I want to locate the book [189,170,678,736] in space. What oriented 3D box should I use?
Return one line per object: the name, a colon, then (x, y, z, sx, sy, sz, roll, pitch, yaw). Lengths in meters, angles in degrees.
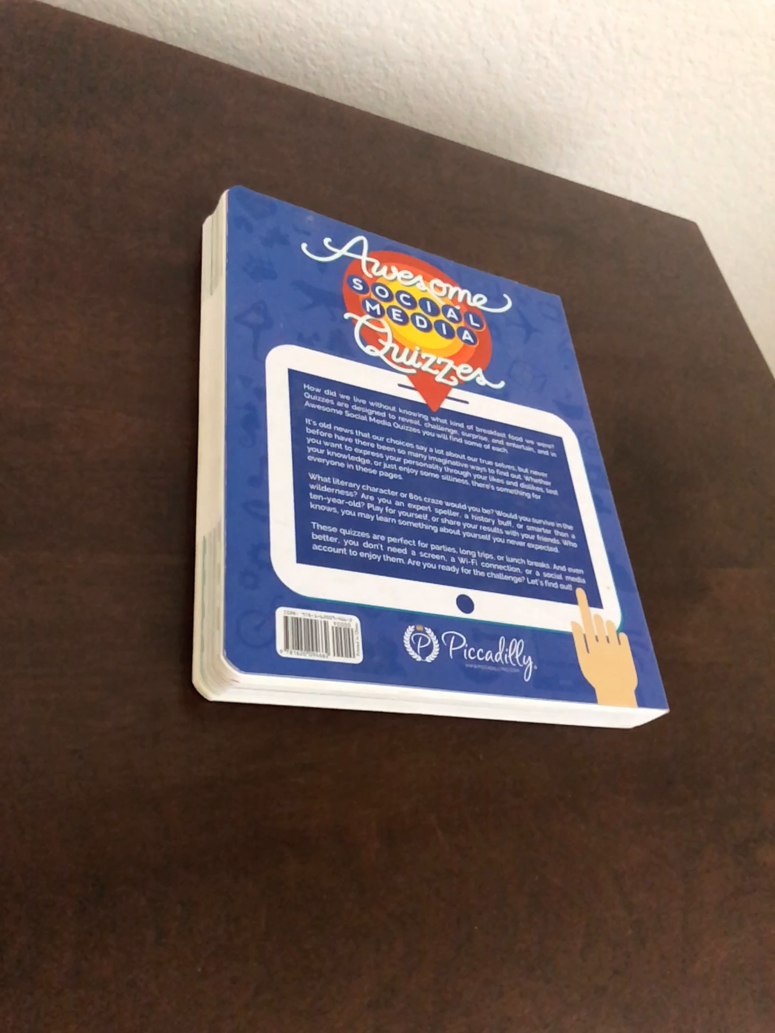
book: (0.014, -0.025, 0.328, 0.166, 0.030, 0.201, 11, 56, -27)
